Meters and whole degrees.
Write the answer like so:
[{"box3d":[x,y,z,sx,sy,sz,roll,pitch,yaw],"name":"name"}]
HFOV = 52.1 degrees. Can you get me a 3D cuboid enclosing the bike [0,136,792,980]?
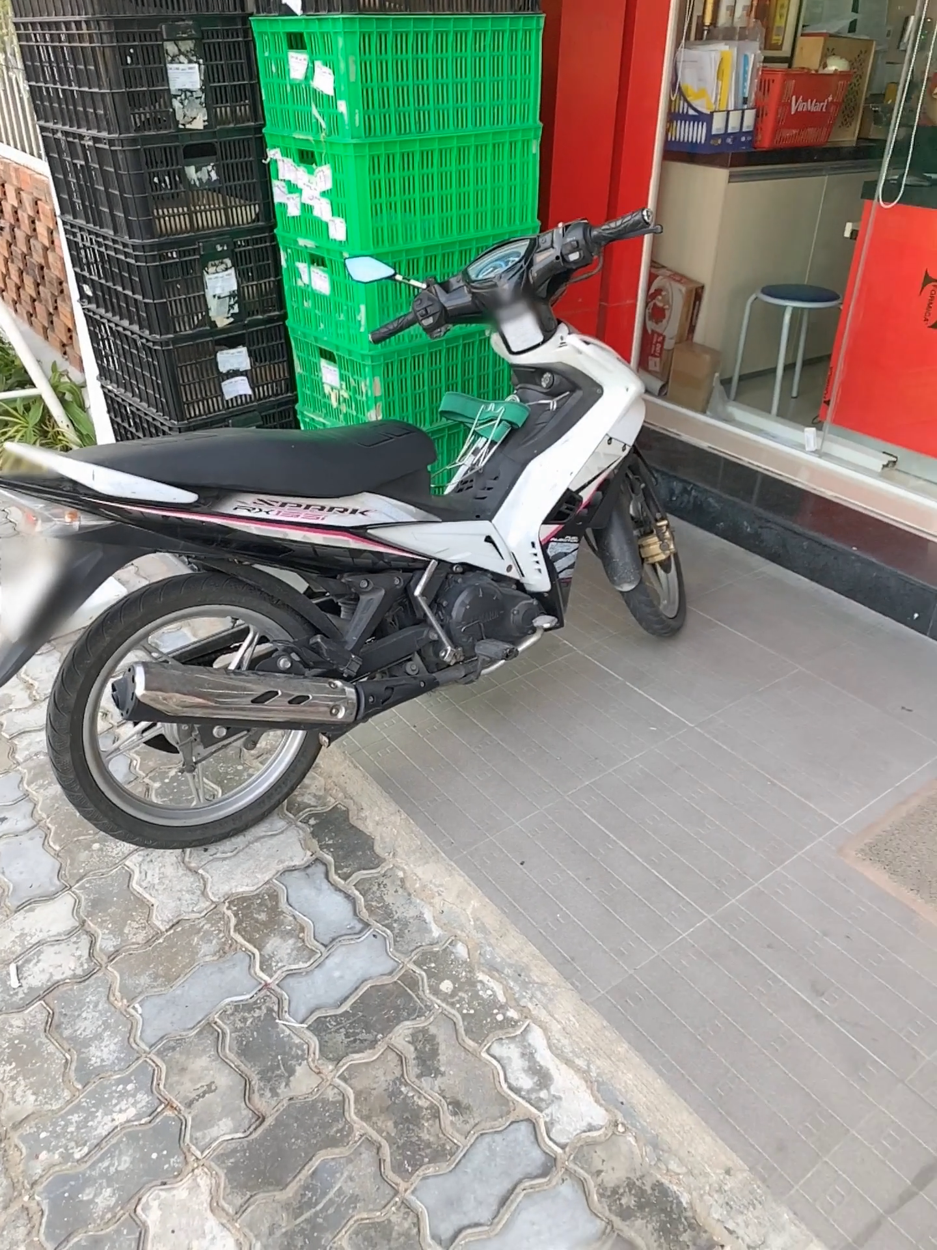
[{"box3d":[-0.139,-0.347,2.196,1.818,1.186,0.669,-27,41,-35],"name":"bike"}]
